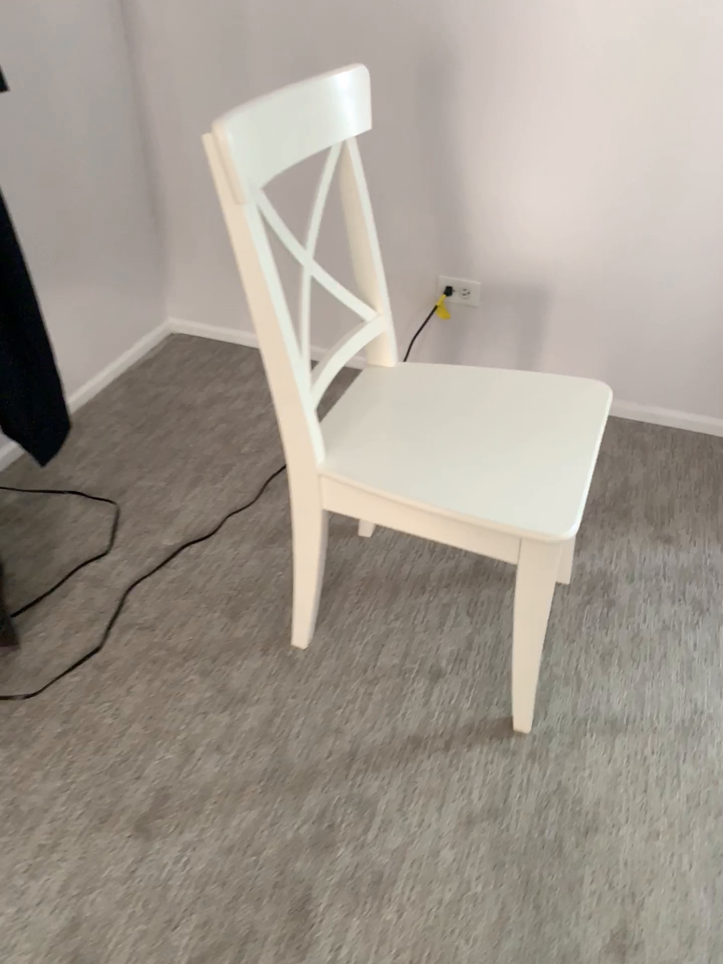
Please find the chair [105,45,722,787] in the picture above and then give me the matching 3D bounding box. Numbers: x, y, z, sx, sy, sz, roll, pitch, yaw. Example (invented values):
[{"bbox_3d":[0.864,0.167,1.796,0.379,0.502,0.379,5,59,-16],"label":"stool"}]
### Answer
[{"bbox_3d":[0.134,-0.132,1.072,0.571,0.765,0.613,13,39,16],"label":"chair"}]
